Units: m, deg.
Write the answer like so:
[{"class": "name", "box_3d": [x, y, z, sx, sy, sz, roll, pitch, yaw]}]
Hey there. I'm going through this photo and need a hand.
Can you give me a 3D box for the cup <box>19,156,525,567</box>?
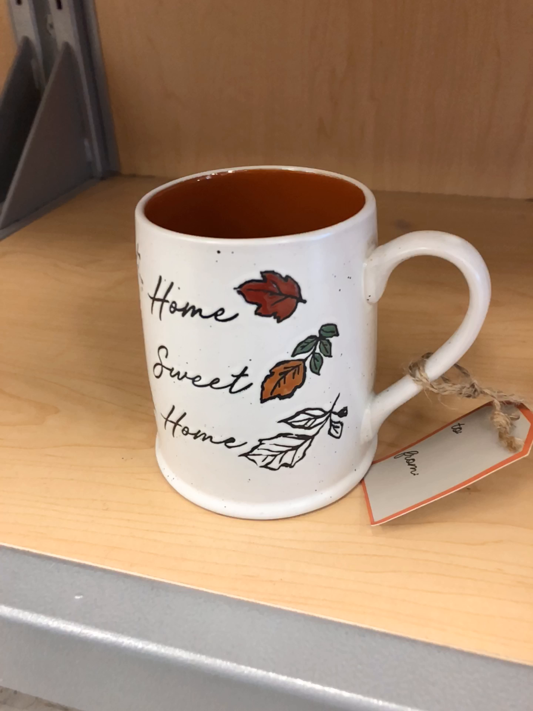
[{"class": "cup", "box_3d": [0.007, -0.005, 0.202, 0.125, 0.099, 0.081, 6, 34, 13]}]
